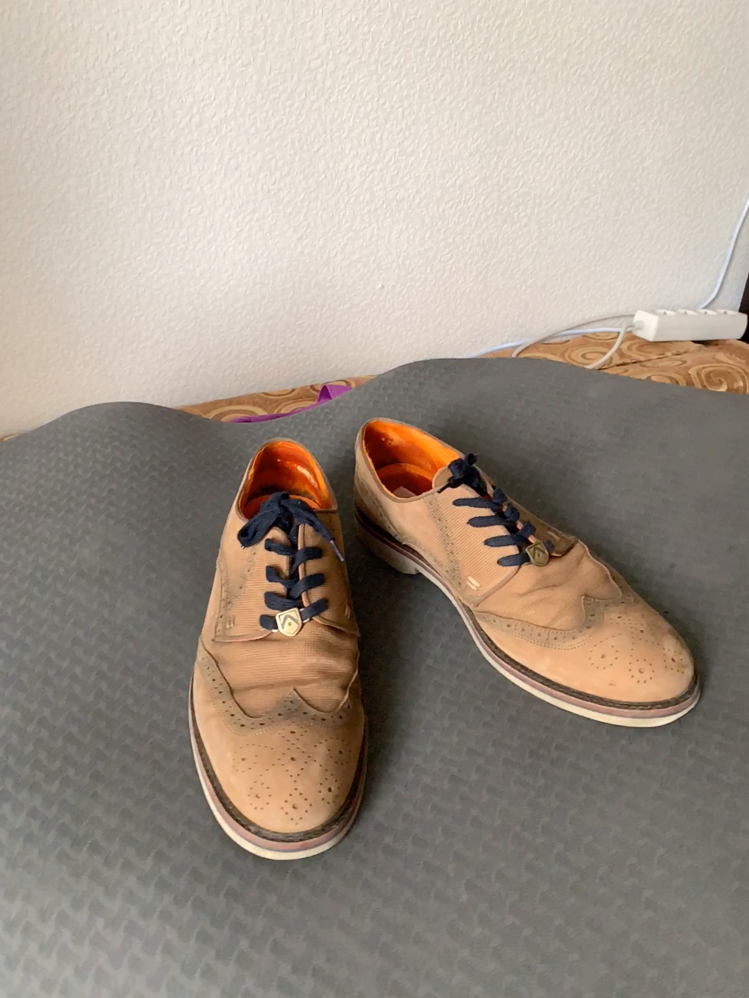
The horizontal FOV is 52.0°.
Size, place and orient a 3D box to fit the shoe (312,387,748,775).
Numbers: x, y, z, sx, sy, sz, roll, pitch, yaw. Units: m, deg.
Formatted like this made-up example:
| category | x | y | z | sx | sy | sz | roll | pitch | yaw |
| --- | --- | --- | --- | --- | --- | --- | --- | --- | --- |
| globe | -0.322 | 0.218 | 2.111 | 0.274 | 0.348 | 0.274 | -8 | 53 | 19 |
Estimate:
| category | x | y | z | sx | sy | sz | roll | pitch | yaw |
| --- | --- | --- | --- | --- | --- | --- | --- | --- | --- |
| shoe | 0.092 | 0.033 | 0.525 | 0.110 | 0.090 | 0.291 | -29 | 44 | -30 |

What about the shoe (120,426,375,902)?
| category | x | y | z | sx | sy | sz | roll | pitch | yaw |
| --- | --- | --- | --- | --- | --- | --- | --- | --- | --- |
| shoe | -0.072 | 0.076 | 0.490 | 0.110 | 0.090 | 0.302 | -6 | 38 | -3 |
